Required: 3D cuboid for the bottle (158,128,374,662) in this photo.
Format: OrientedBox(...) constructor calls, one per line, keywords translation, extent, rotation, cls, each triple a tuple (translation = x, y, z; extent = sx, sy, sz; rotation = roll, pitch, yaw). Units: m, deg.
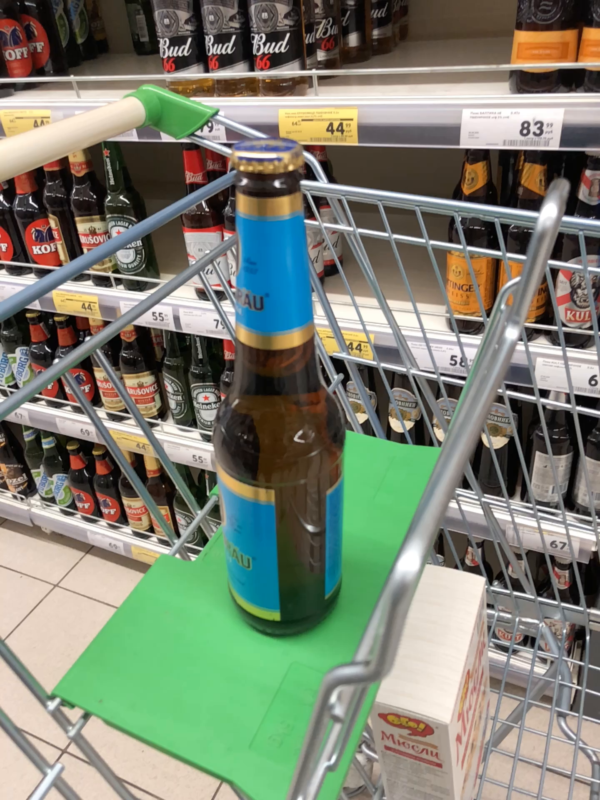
OrientedBox(translation=(-0.007, 0.011, 0.314), extent=(0.070, 0.249, 0.080), rotation=(1, 33, 3), cls="bottle")
